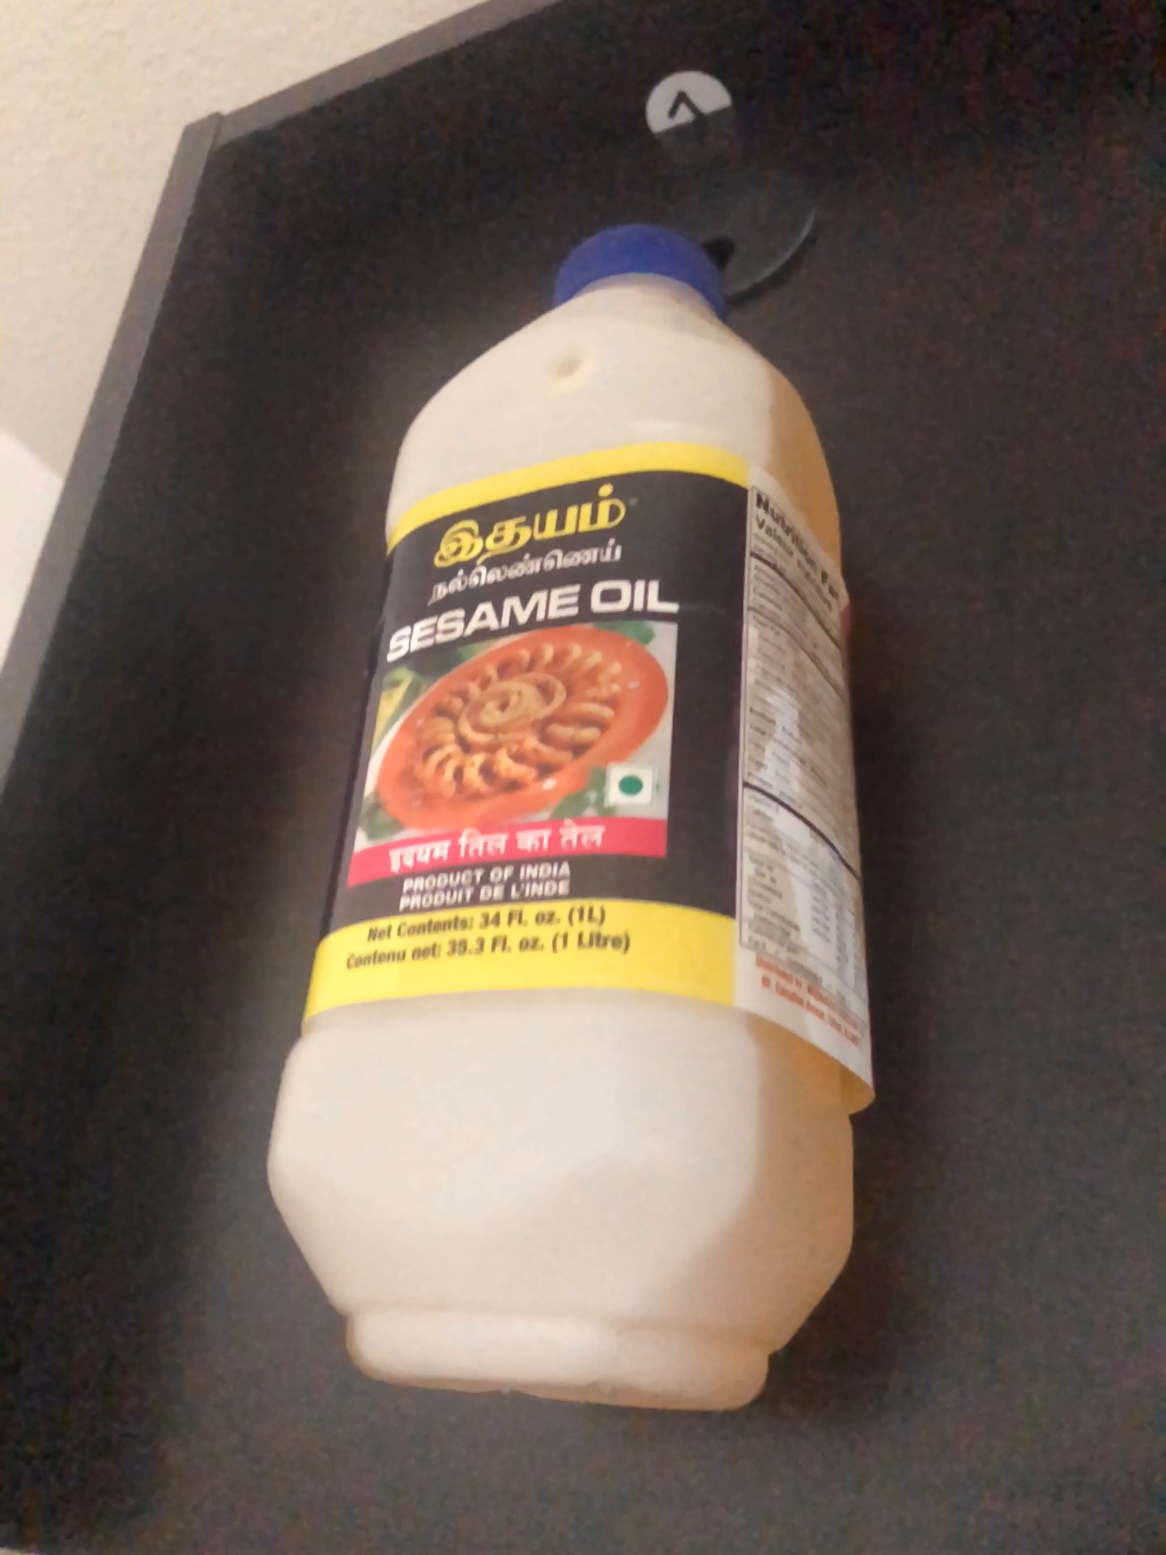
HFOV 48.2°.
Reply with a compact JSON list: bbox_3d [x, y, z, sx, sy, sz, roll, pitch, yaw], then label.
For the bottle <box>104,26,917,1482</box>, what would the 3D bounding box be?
[{"bbox_3d":[0.006,-0.011,0.252,0.090,0.090,0.250,-8,59,25],"label":"bottle"}]
